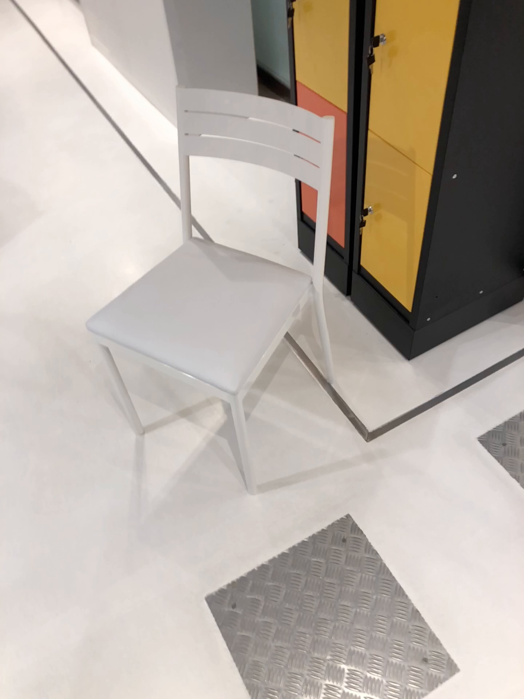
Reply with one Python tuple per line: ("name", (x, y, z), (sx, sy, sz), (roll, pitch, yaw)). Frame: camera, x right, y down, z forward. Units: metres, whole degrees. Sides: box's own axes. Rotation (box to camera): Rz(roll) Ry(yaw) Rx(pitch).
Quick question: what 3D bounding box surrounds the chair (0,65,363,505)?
("chair", (-0.118, -0.133, 1.329), (0.481, 0.735, 0.533), (23, 56, 24))
